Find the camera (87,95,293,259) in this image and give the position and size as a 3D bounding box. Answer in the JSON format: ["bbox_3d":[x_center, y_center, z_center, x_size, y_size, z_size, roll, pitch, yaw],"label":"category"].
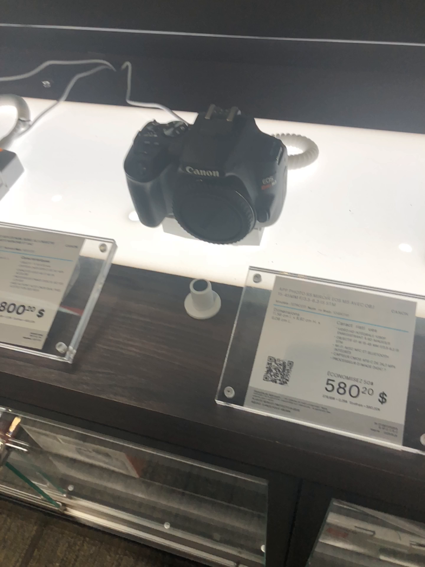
[{"bbox_3d":[-0.011,-0.081,0.350,0.123,0.071,0.081,10,52,14],"label":"camera"}]
